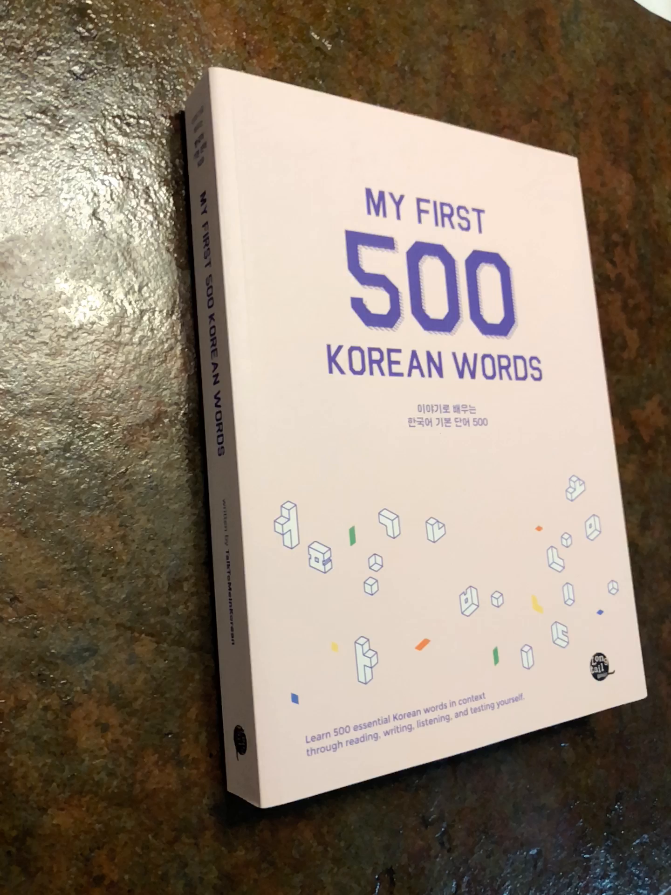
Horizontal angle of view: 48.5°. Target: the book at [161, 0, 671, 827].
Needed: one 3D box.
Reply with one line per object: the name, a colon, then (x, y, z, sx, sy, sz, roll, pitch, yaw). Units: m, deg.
book: (0.043, -0.017, 0.266, 0.191, 0.030, 0.230, -1, 82, -32)
